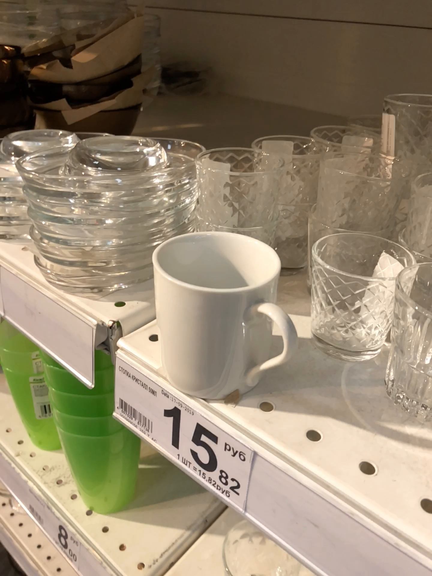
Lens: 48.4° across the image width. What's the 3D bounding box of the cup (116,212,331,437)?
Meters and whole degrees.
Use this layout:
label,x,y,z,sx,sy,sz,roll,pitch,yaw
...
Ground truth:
label,x,y,z,sx,sy,sz,roll,pitch,yaw
cup,0.001,0.011,0.223,0.057,0.060,0.075,-25,41,-37
